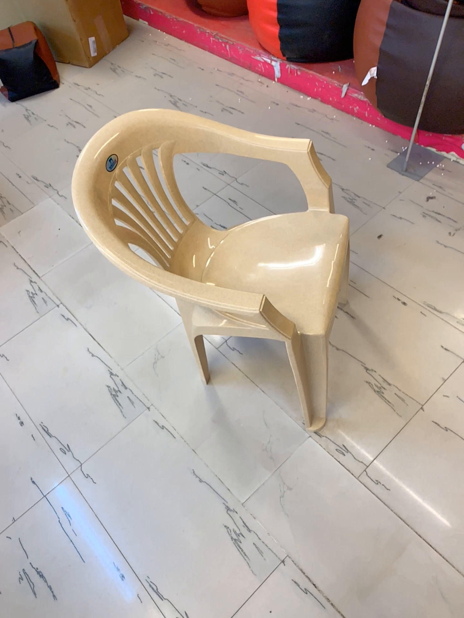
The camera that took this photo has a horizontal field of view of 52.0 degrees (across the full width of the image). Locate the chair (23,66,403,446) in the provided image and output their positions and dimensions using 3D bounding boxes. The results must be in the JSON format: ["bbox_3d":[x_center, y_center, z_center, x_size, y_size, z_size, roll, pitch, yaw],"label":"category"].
[{"bbox_3d":[0.036,-0.116,1.256,0.631,0.745,0.573,10,56,16],"label":"chair"}]
